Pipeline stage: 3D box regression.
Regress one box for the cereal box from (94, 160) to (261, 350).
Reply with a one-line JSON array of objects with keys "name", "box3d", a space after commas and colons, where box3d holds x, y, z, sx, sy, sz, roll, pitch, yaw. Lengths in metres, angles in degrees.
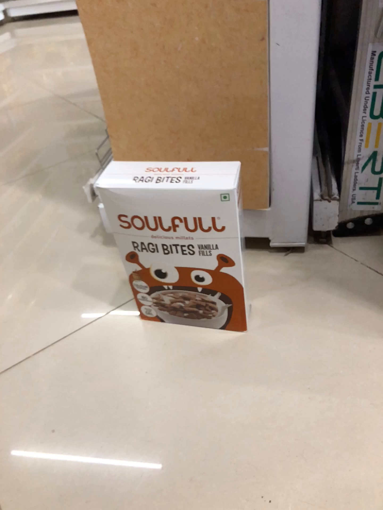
[{"name": "cereal box", "box3d": [-0.003, 0.006, 0.556, 0.170, 0.248, 0.070, 4, 40, 16]}]
